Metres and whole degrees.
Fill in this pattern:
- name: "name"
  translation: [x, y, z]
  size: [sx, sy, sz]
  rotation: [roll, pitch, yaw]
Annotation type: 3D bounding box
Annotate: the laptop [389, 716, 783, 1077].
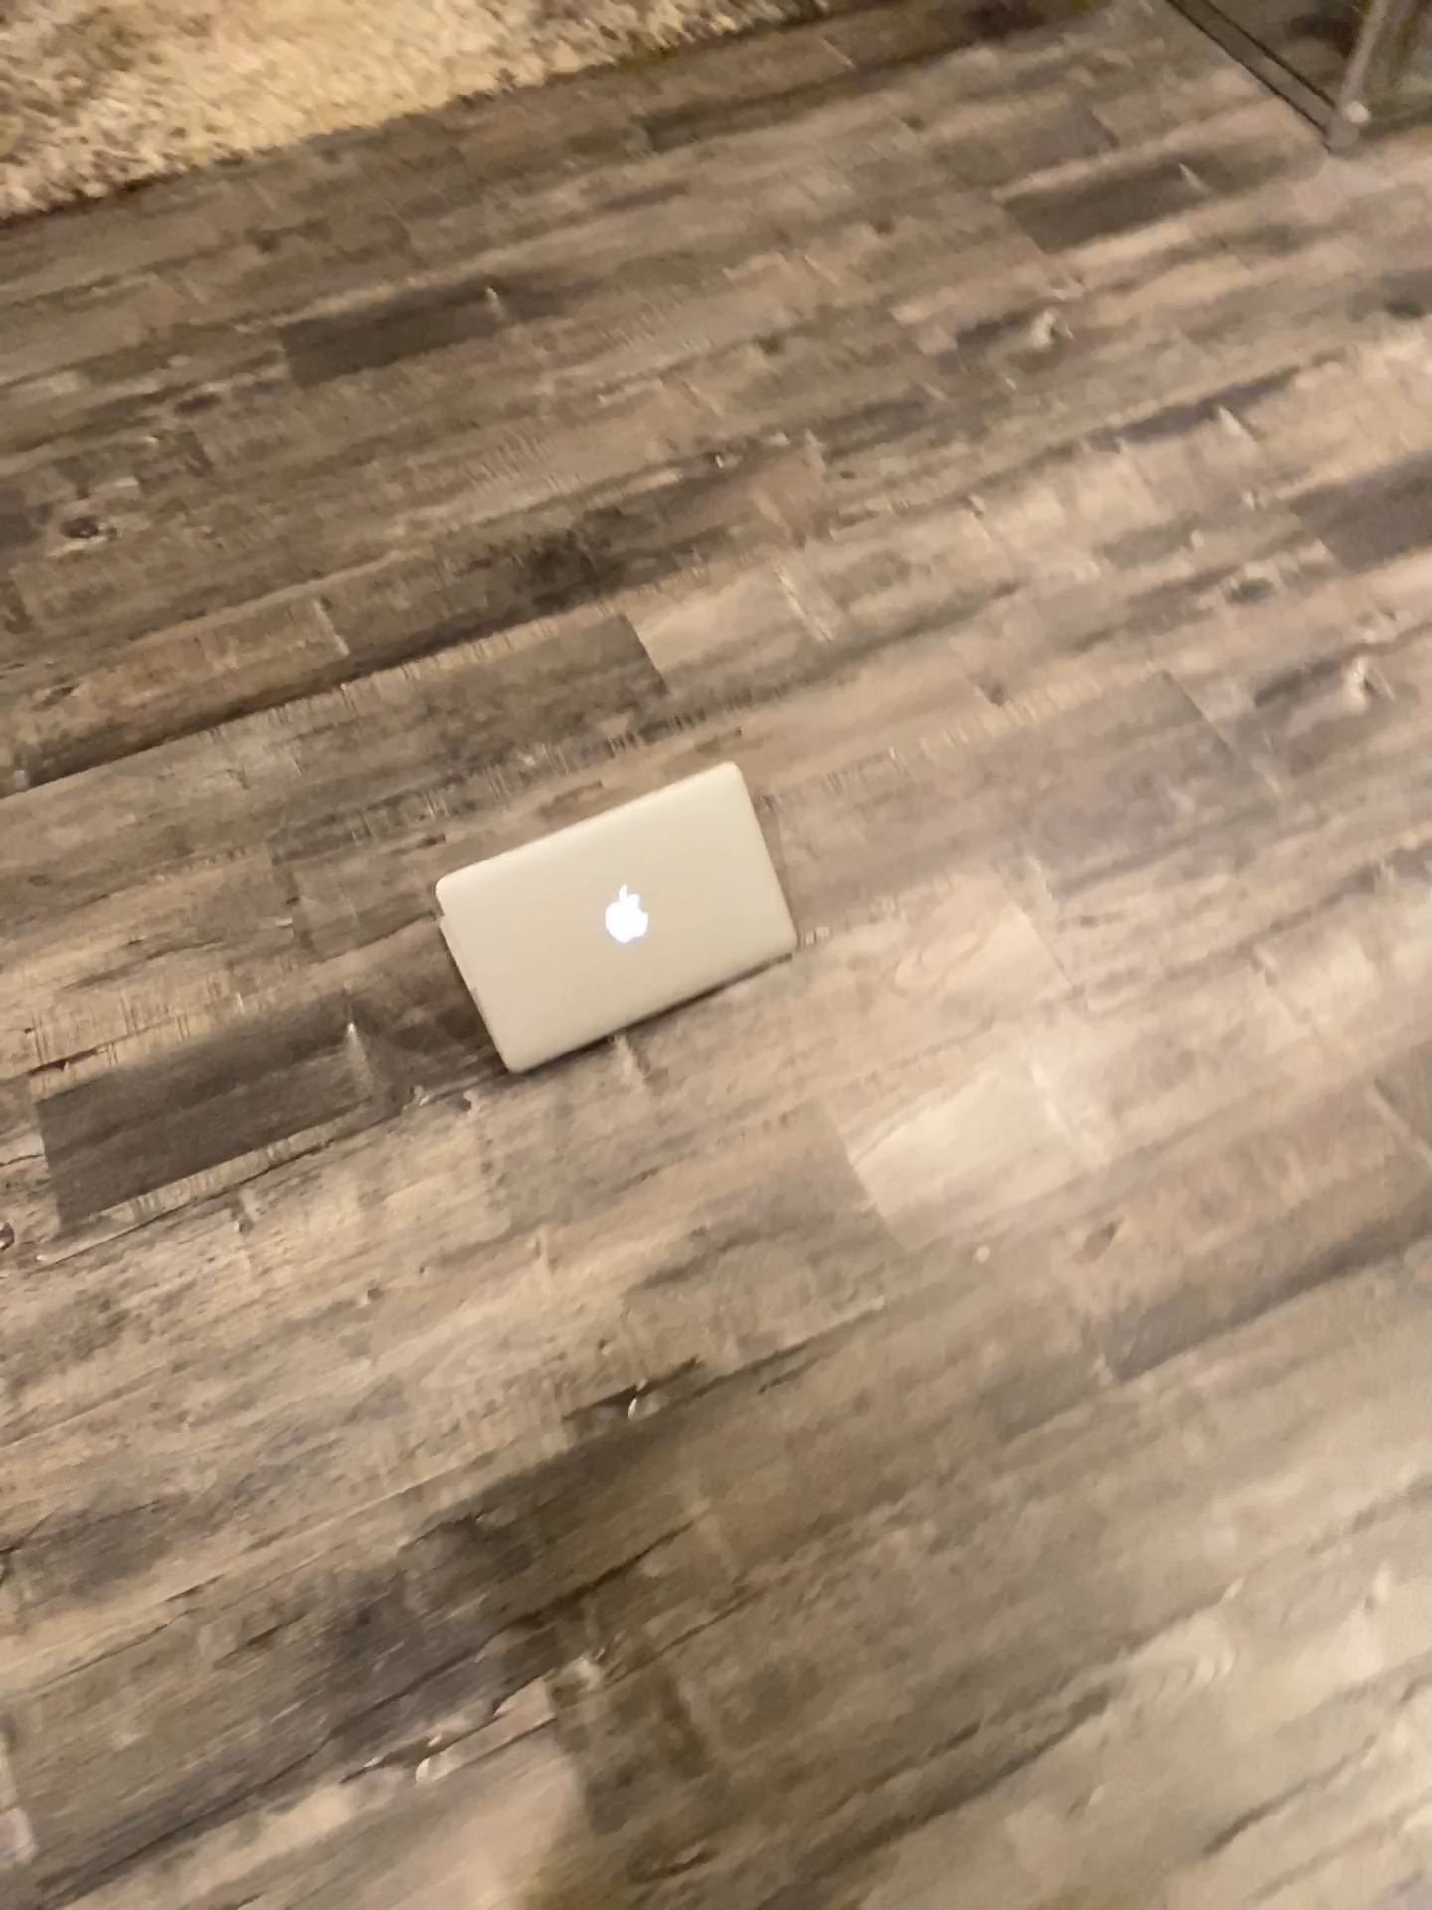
- name: "laptop"
  translation: [-0.115, -0.057, 1.339]
  size: [0.292, 0.132, 0.193]
  rotation: [-24, 62, -14]
